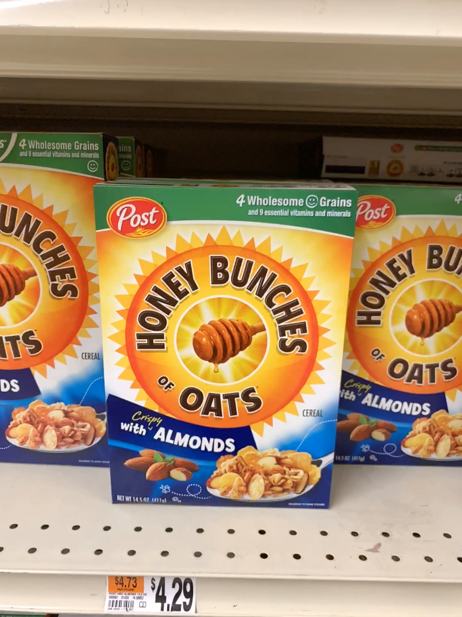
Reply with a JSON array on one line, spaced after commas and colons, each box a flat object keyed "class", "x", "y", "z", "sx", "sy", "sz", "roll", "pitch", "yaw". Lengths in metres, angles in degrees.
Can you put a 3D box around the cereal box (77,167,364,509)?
[{"class": "cereal box", "x": -0.010, "y": 0.029, "z": 0.402, "sx": 0.200, "sy": 0.279, "sz": 0.060, "roll": 1, "pitch": 17, "yaw": 0}]
